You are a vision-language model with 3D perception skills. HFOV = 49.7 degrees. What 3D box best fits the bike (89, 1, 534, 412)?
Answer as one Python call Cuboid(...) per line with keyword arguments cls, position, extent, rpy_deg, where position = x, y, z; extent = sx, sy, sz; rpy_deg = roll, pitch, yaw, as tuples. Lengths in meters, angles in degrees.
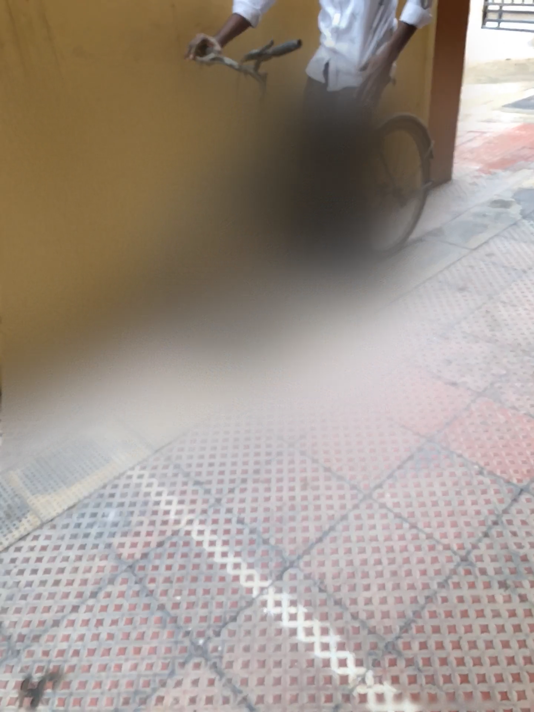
Cuboid(cls="bike", position=(0.280, -0.686, 2.138), extent=(1.579, 1.024, 0.589), rpy_deg=(-28, 40, -33))
